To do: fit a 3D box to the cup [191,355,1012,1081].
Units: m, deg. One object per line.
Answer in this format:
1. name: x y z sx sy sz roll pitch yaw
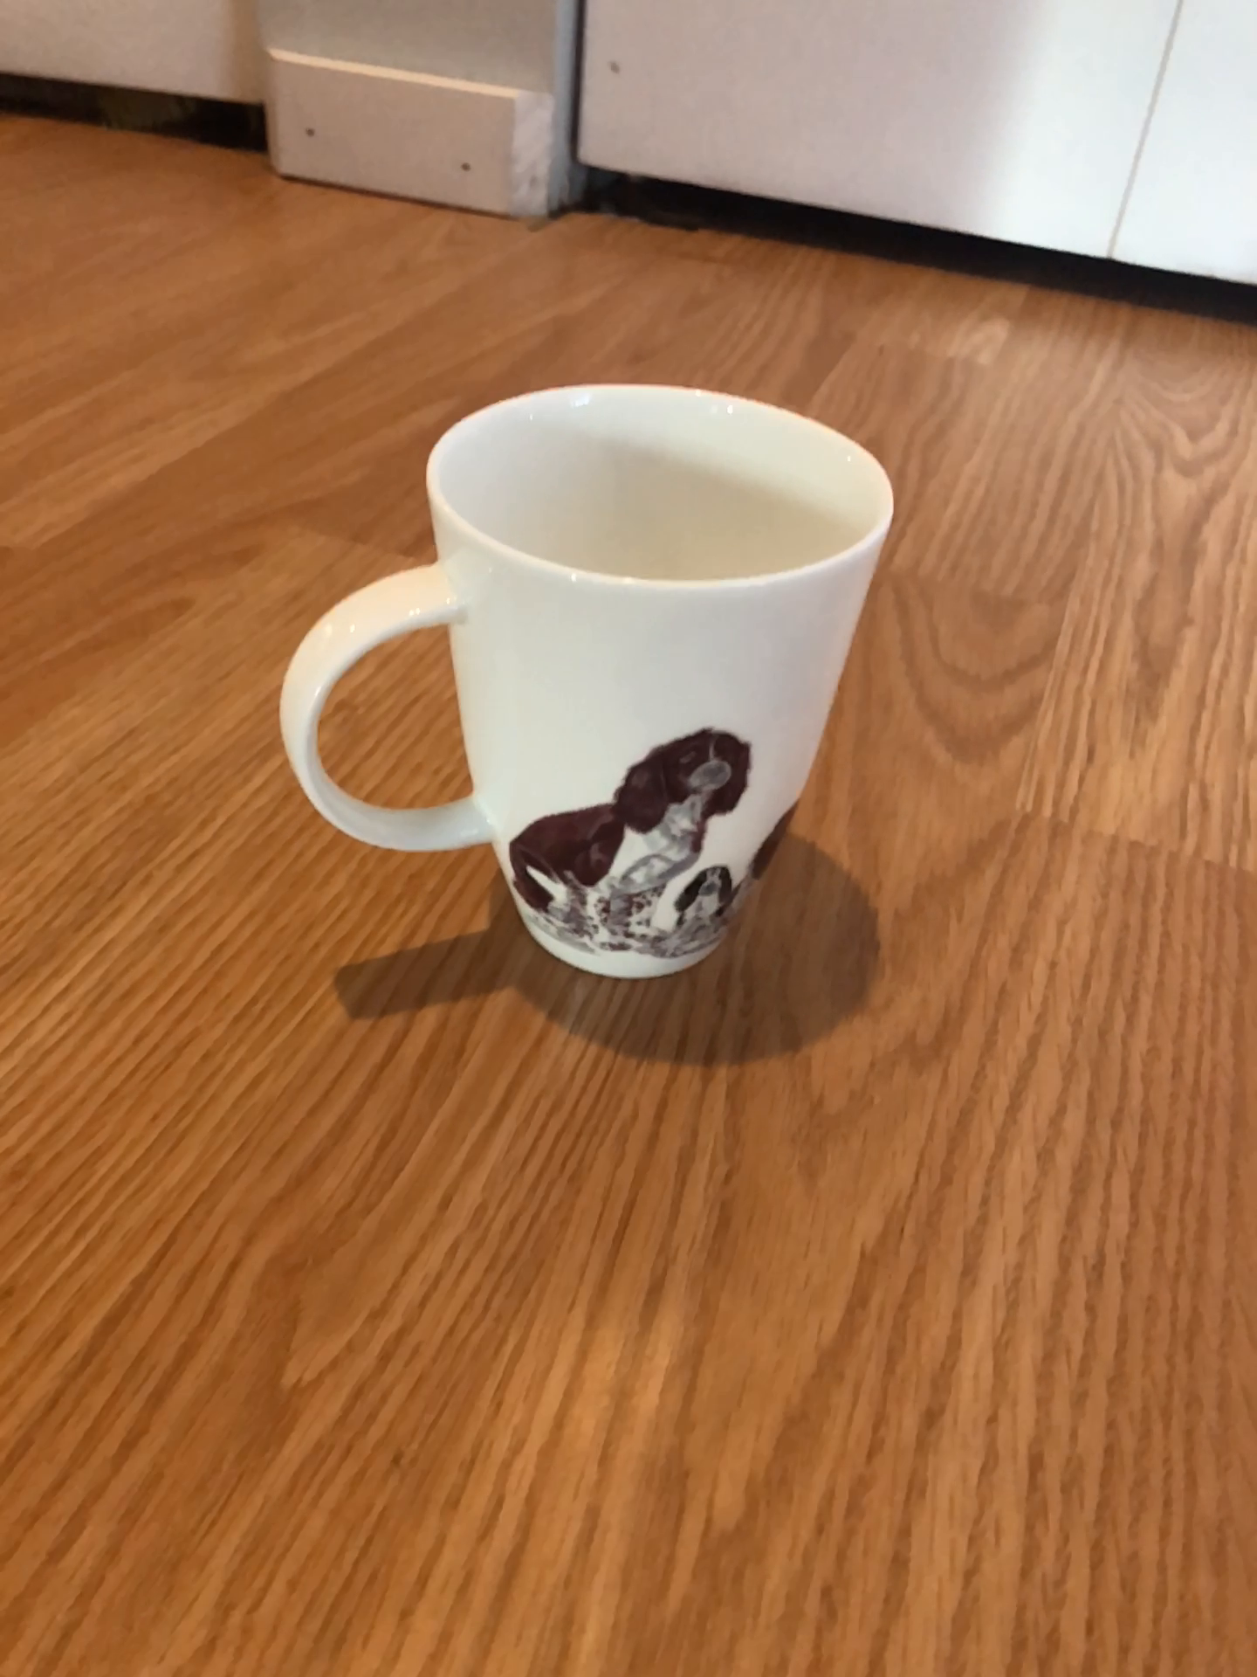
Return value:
1. cup: -0.011 -0.030 0.276 0.120 0.090 0.090 -13 42 -22
